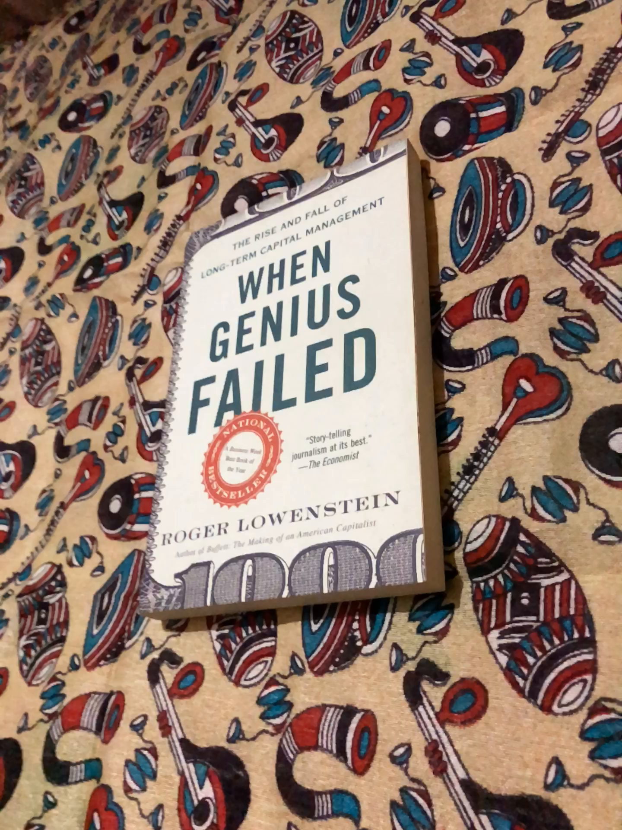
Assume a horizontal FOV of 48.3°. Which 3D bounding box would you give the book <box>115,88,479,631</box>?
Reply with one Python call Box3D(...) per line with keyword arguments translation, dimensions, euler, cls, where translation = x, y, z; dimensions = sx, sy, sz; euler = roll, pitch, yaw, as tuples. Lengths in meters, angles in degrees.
Box3D(translation=(-0.009, -0.026, 0.305), dimensions=(0.140, 0.030, 0.220), euler=(-14, 60, 28), cls="book")
